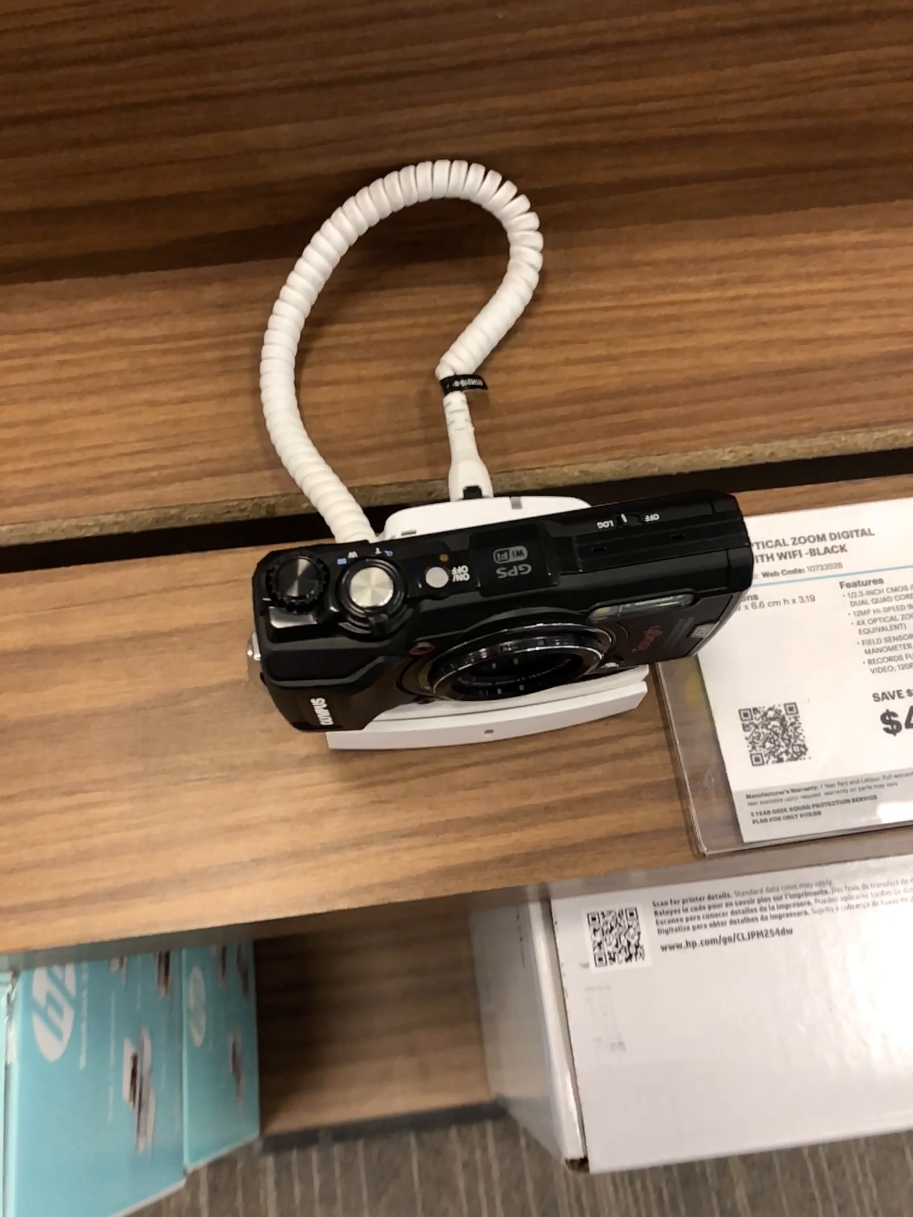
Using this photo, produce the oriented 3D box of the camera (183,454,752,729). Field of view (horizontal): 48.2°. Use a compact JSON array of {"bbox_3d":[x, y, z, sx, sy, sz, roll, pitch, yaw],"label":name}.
[{"bbox_3d":[0.001,-0.002,0.248,0.120,0.060,0.030,-7,67,-4],"label":"camera"}]
